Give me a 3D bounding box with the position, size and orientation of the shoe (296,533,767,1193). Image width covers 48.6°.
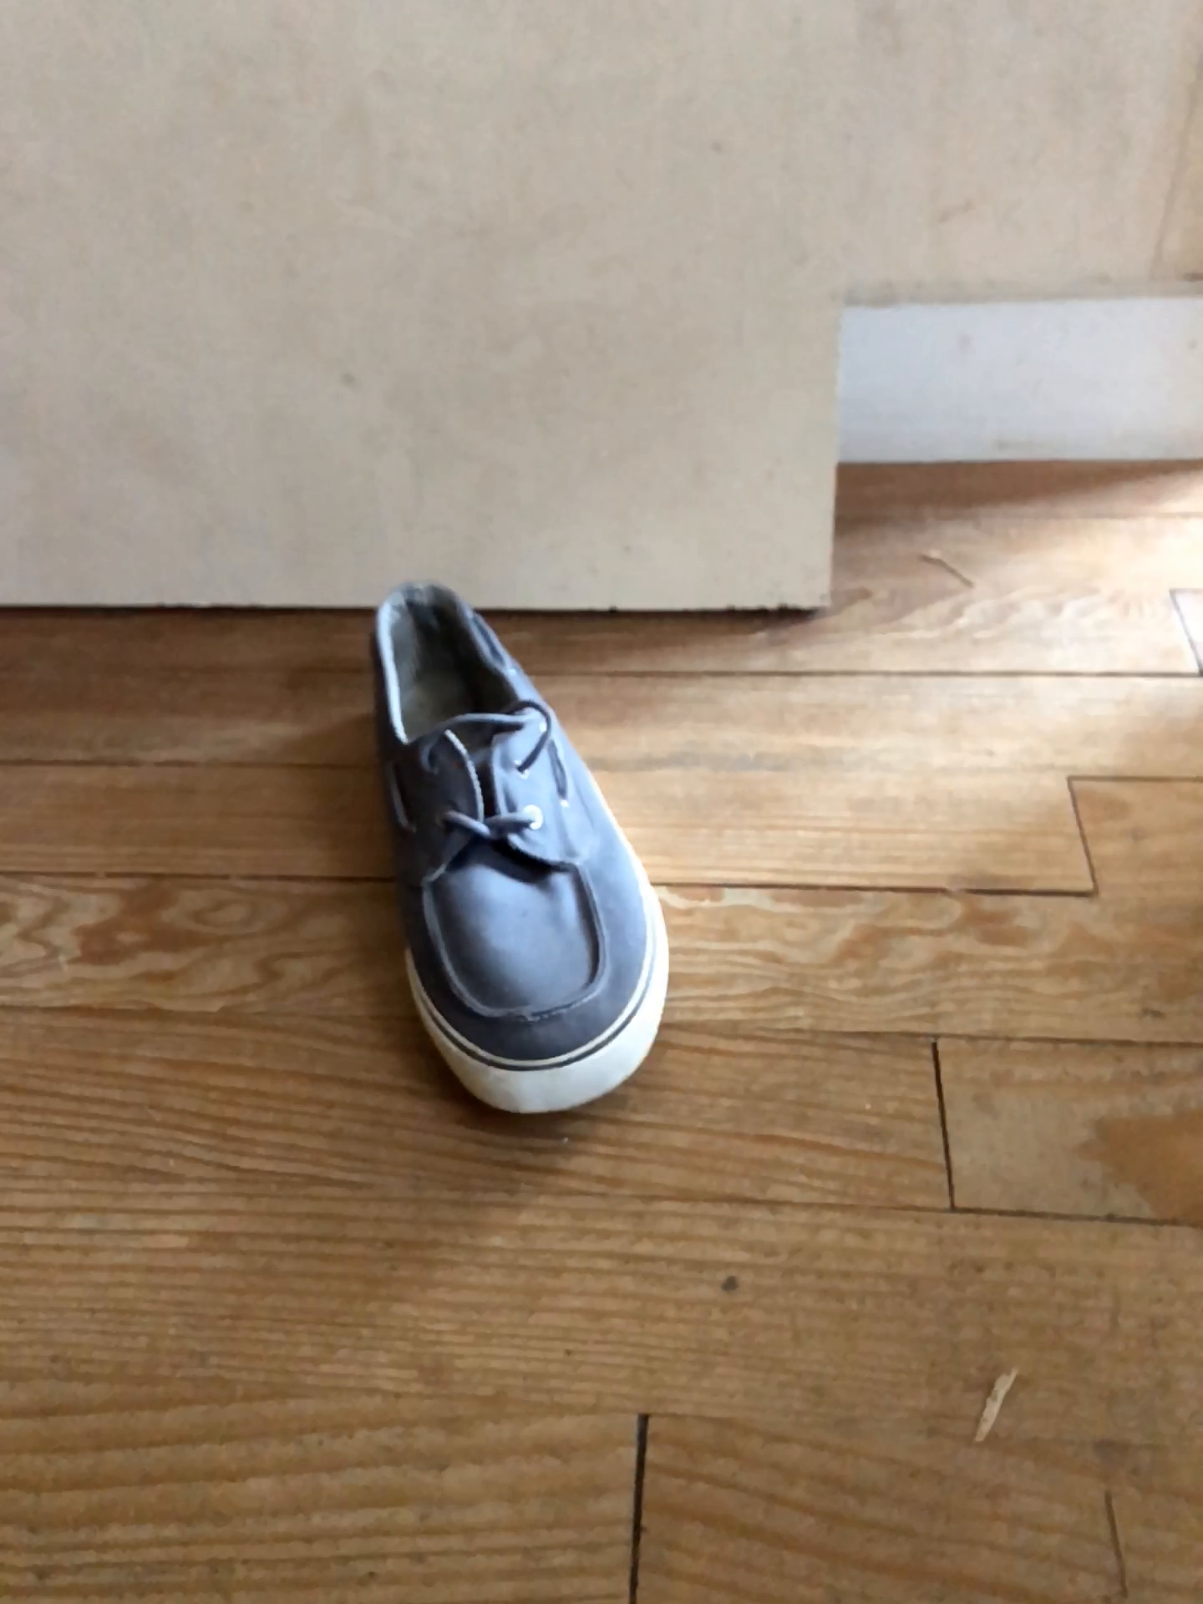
[{"bbox_3d":[-0.039,0.002,0.506,0.100,0.060,0.271,-15,44,-12],"label":"shoe"}]
